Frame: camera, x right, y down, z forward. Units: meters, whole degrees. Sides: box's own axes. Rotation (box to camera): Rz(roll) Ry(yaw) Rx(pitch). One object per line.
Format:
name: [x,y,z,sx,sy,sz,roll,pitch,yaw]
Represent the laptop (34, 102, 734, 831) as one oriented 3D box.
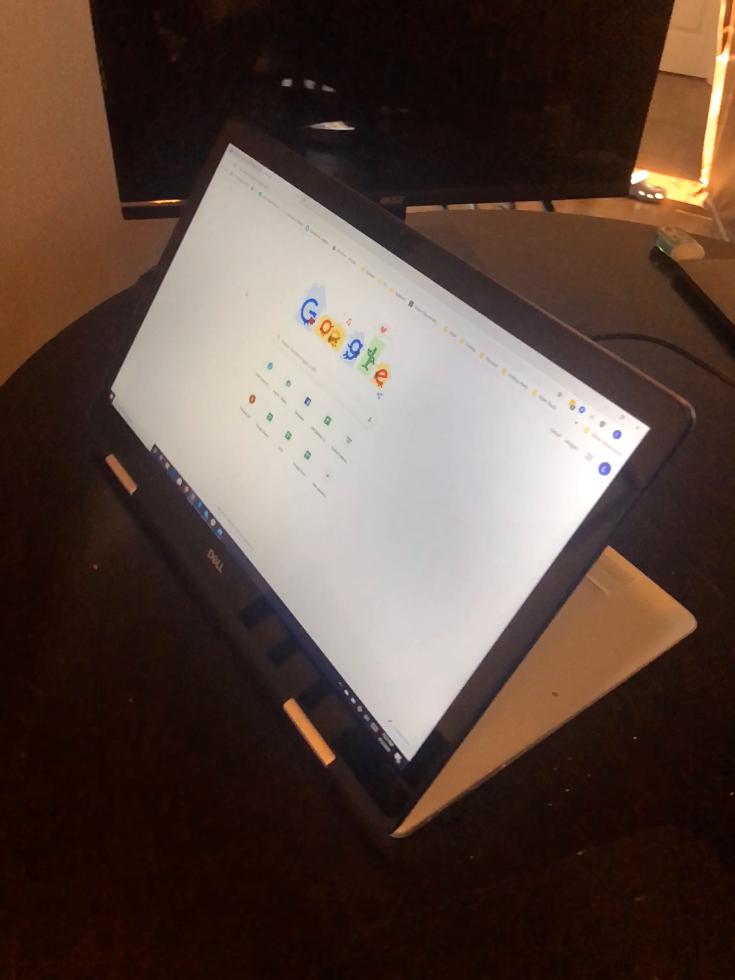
laptop: [0.007,-0.063,0.548,0.267,0.232,0.420,-23,48,-28]
